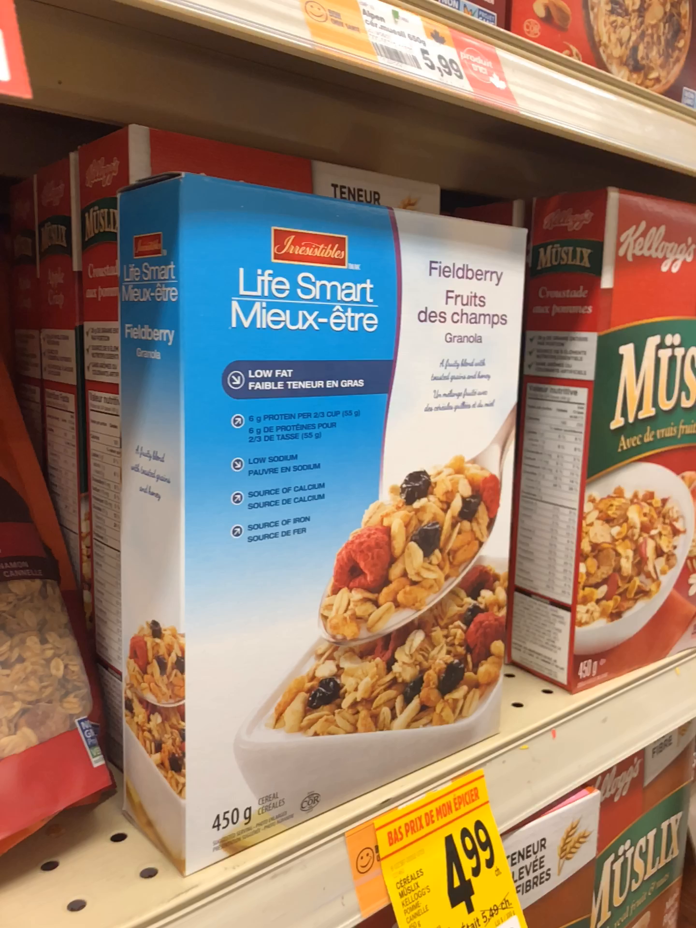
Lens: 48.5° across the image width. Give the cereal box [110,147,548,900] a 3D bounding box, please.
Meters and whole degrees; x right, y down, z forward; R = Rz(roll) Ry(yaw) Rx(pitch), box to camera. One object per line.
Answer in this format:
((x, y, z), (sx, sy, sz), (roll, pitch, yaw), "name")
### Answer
((-0.001, 0.016, 0.311), (0.170, 0.239, 0.050), (-6, 12, -38), "cereal box")
